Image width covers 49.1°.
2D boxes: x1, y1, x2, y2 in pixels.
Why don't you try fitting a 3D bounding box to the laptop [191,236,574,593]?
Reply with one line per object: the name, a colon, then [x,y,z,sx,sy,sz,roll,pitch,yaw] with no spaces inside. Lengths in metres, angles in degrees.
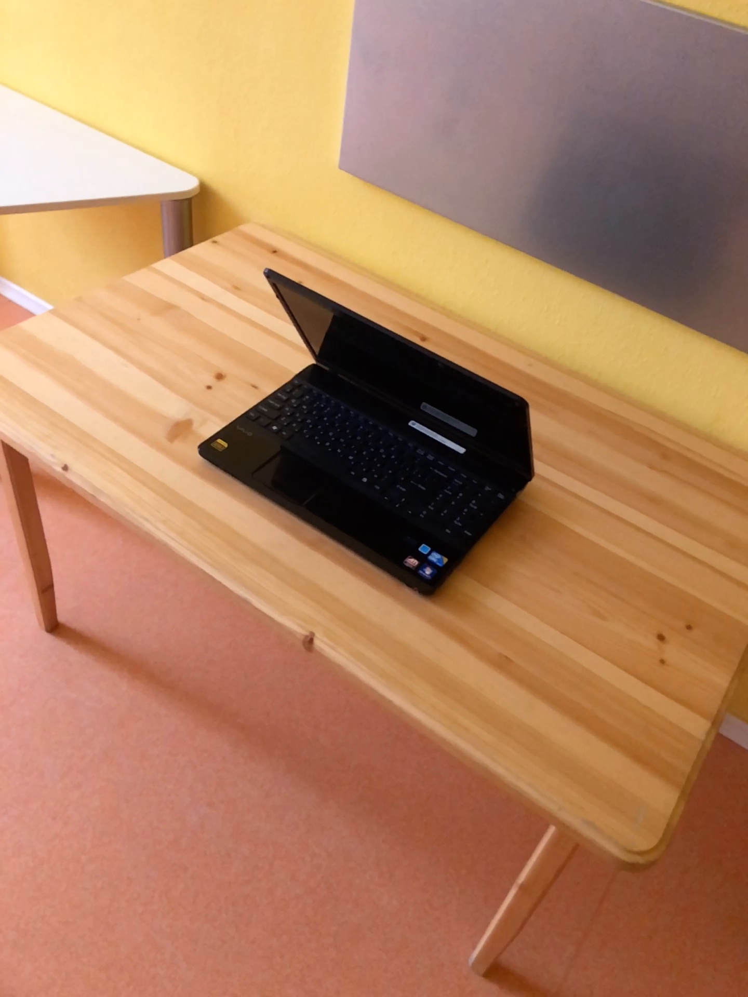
laptop: [-0.001,-0.118,1.001,0.361,0.200,0.248,31,49,21]
